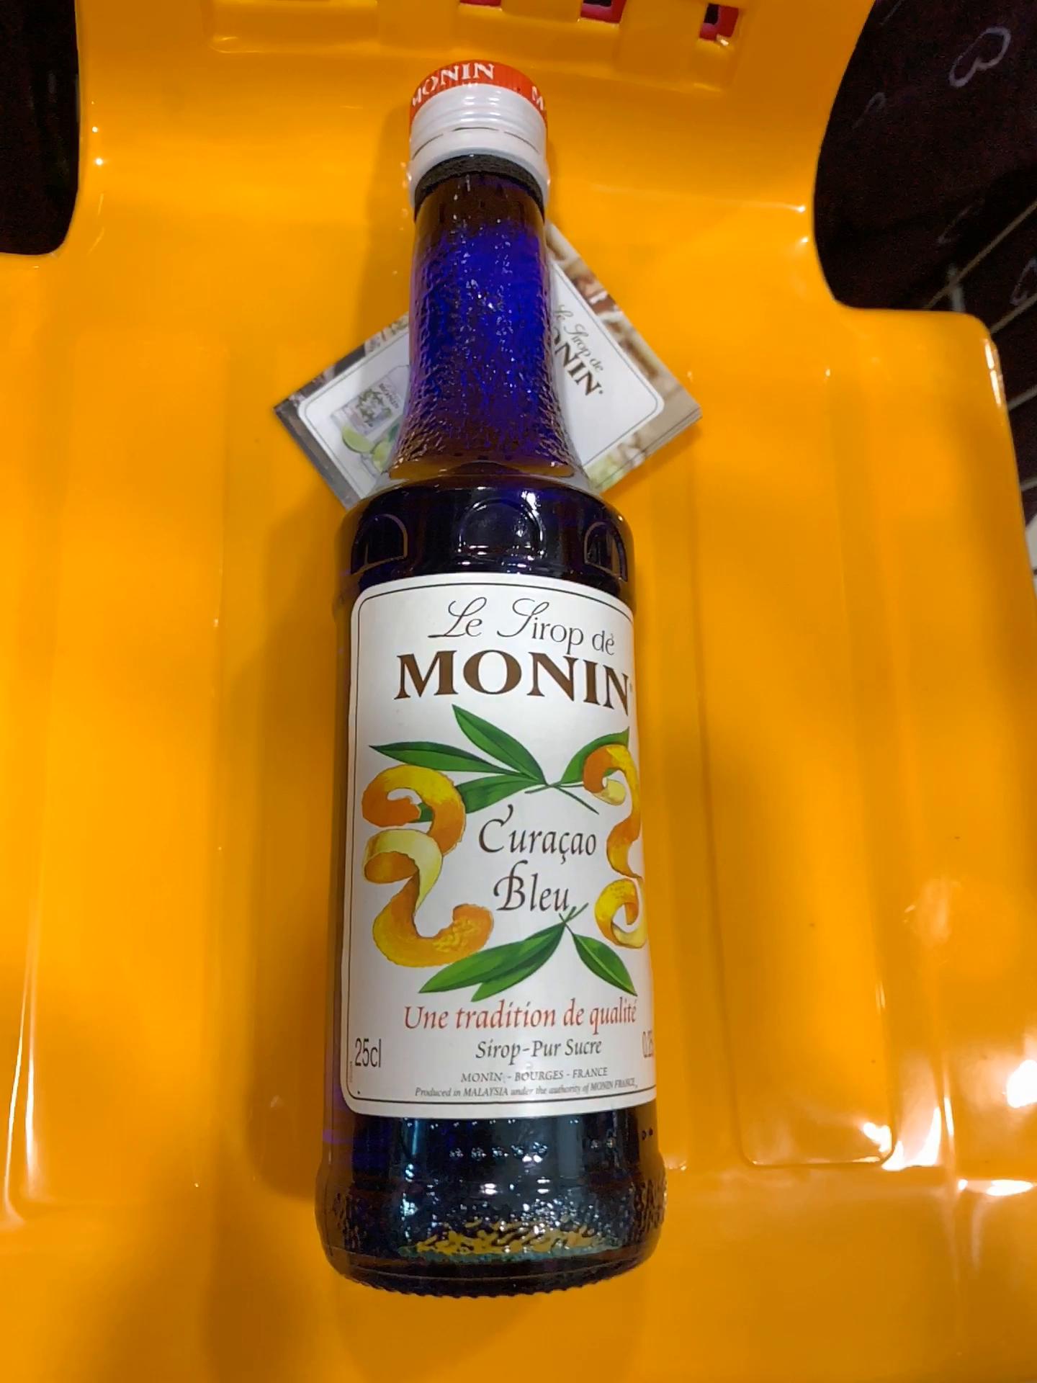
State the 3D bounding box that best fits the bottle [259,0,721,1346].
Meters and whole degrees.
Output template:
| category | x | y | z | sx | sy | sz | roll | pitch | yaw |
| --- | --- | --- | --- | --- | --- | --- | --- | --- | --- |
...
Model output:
| category | x | y | z | sx | sy | sz | roll | pitch | yaw |
| --- | --- | --- | --- | --- | --- | --- | --- | --- | --- |
| bottle | -0.008 | -0.019 | 0.189 | 0.060 | 0.050 | 0.220 | 4 | 76 | -15 |
